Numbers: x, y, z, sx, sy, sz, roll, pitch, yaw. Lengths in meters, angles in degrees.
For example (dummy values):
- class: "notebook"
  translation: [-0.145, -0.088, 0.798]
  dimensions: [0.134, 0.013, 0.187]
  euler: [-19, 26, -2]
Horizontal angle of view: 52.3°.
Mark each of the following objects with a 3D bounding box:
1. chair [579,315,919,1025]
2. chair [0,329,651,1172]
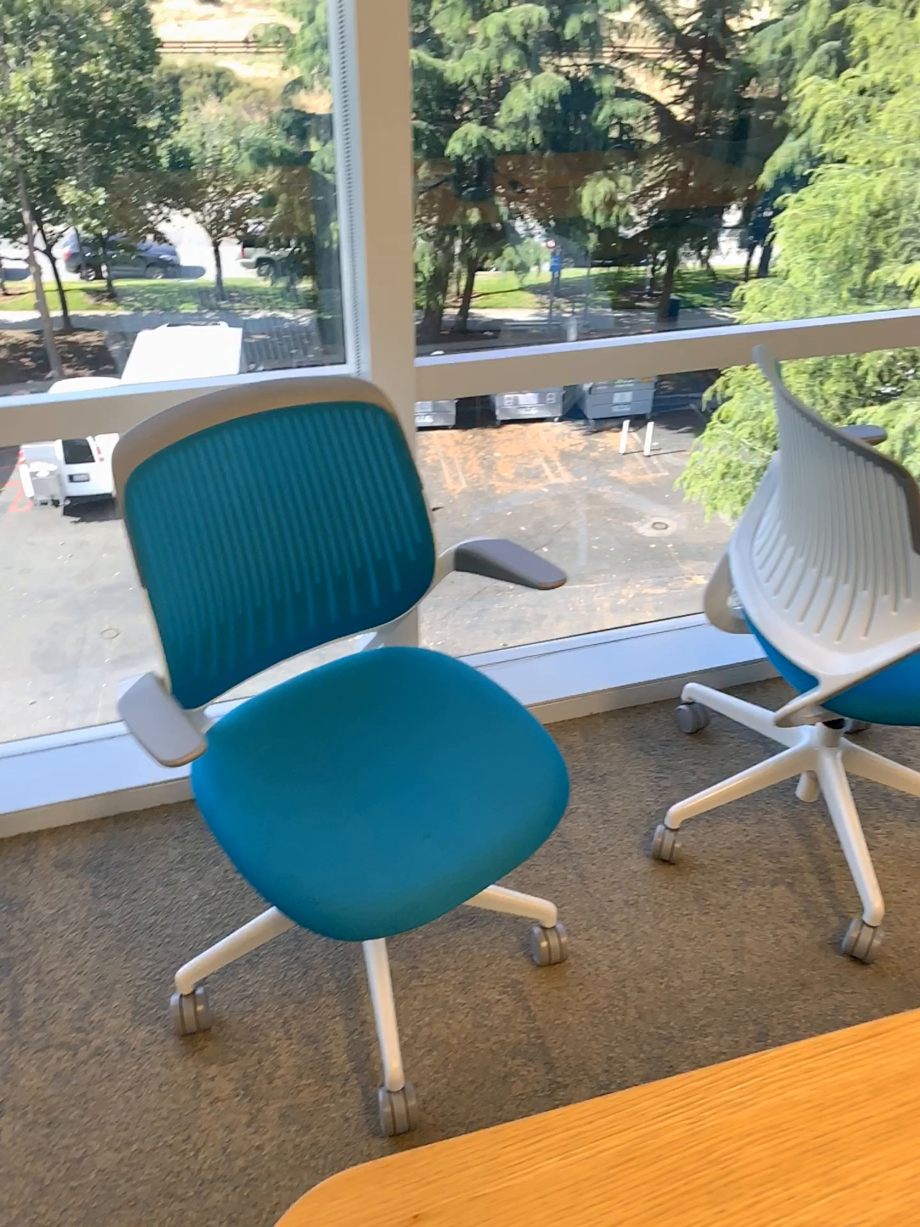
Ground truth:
- class: "chair"
  translation: [0.696, 0.087, 1.733]
  dimensions: [0.640, 1.014, 0.654]
  euler: [-11, 37, -17]
- class: "chair"
  translation: [-0.275, 0.203, 1.800]
  dimensions: [0.731, 1.133, 0.875]
  euler: [-18, 40, -25]
